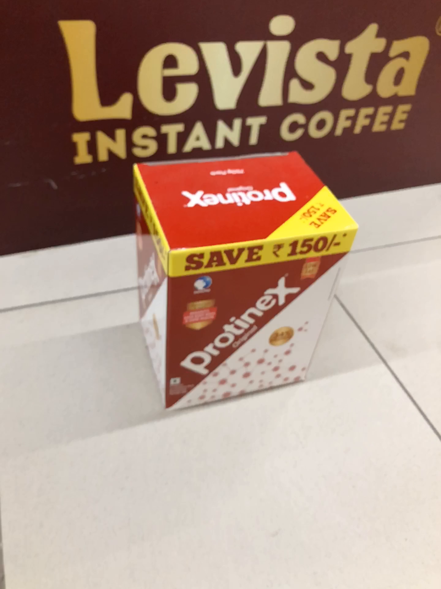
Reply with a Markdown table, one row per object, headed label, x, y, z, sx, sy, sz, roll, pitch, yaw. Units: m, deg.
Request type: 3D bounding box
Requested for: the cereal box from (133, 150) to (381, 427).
| label | x | y | z | sx | sy | sz | roll | pitch | yaw |
| --- | --- | --- | --- | --- | --- | --- | --- | --- | --- |
| cereal box | 0.015 | -0.005 | 0.450 | 0.160 | 0.199 | 0.121 | -9 | 45 | -17 |
